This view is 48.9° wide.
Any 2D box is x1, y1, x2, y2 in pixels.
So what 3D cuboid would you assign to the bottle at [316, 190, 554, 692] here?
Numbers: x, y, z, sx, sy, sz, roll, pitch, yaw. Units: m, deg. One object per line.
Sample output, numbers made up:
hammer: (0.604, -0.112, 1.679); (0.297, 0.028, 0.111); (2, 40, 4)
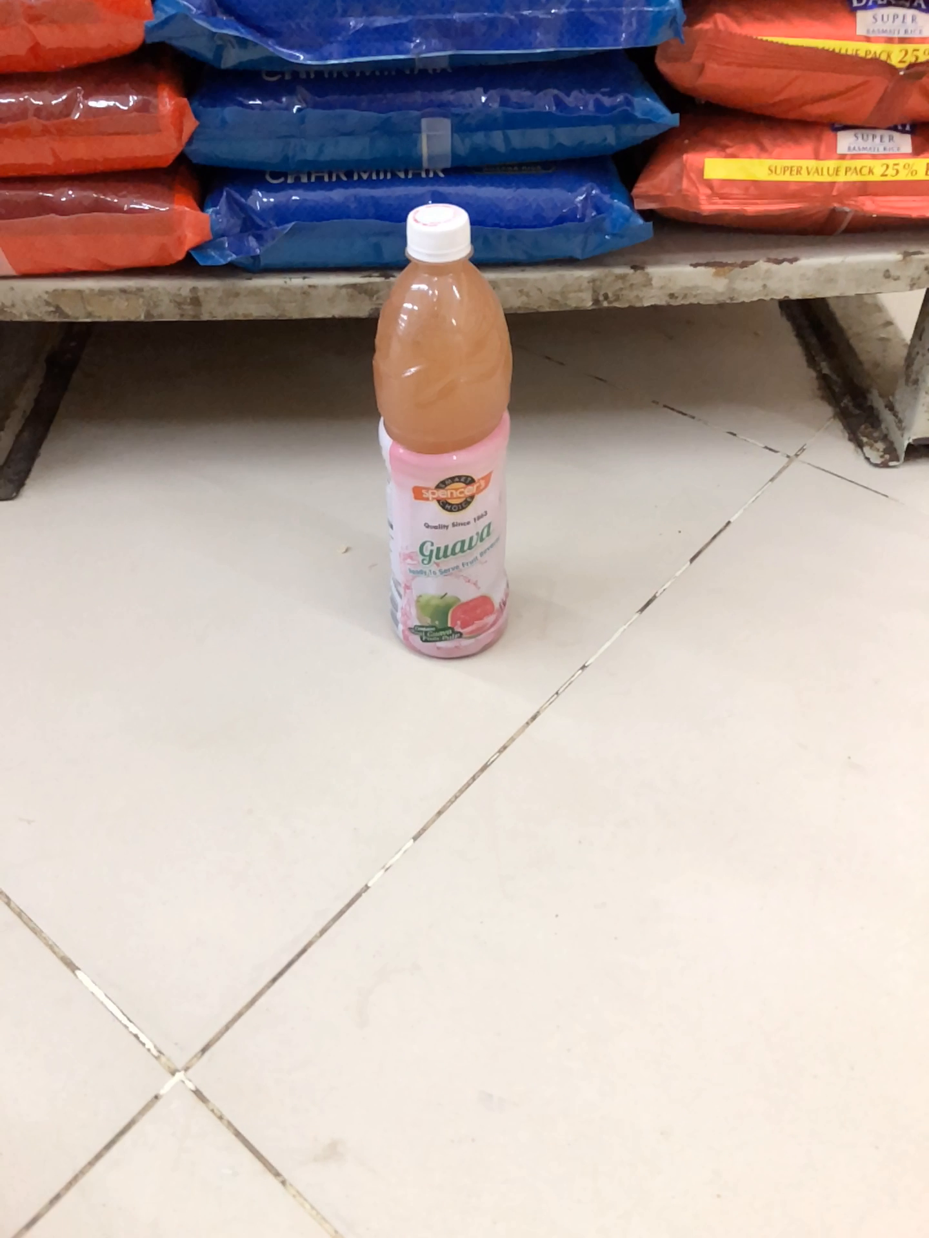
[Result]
bottle: (-0.014, -0.087, 0.573); (0.090, 0.258, 0.090); (-1, 45, 1)
